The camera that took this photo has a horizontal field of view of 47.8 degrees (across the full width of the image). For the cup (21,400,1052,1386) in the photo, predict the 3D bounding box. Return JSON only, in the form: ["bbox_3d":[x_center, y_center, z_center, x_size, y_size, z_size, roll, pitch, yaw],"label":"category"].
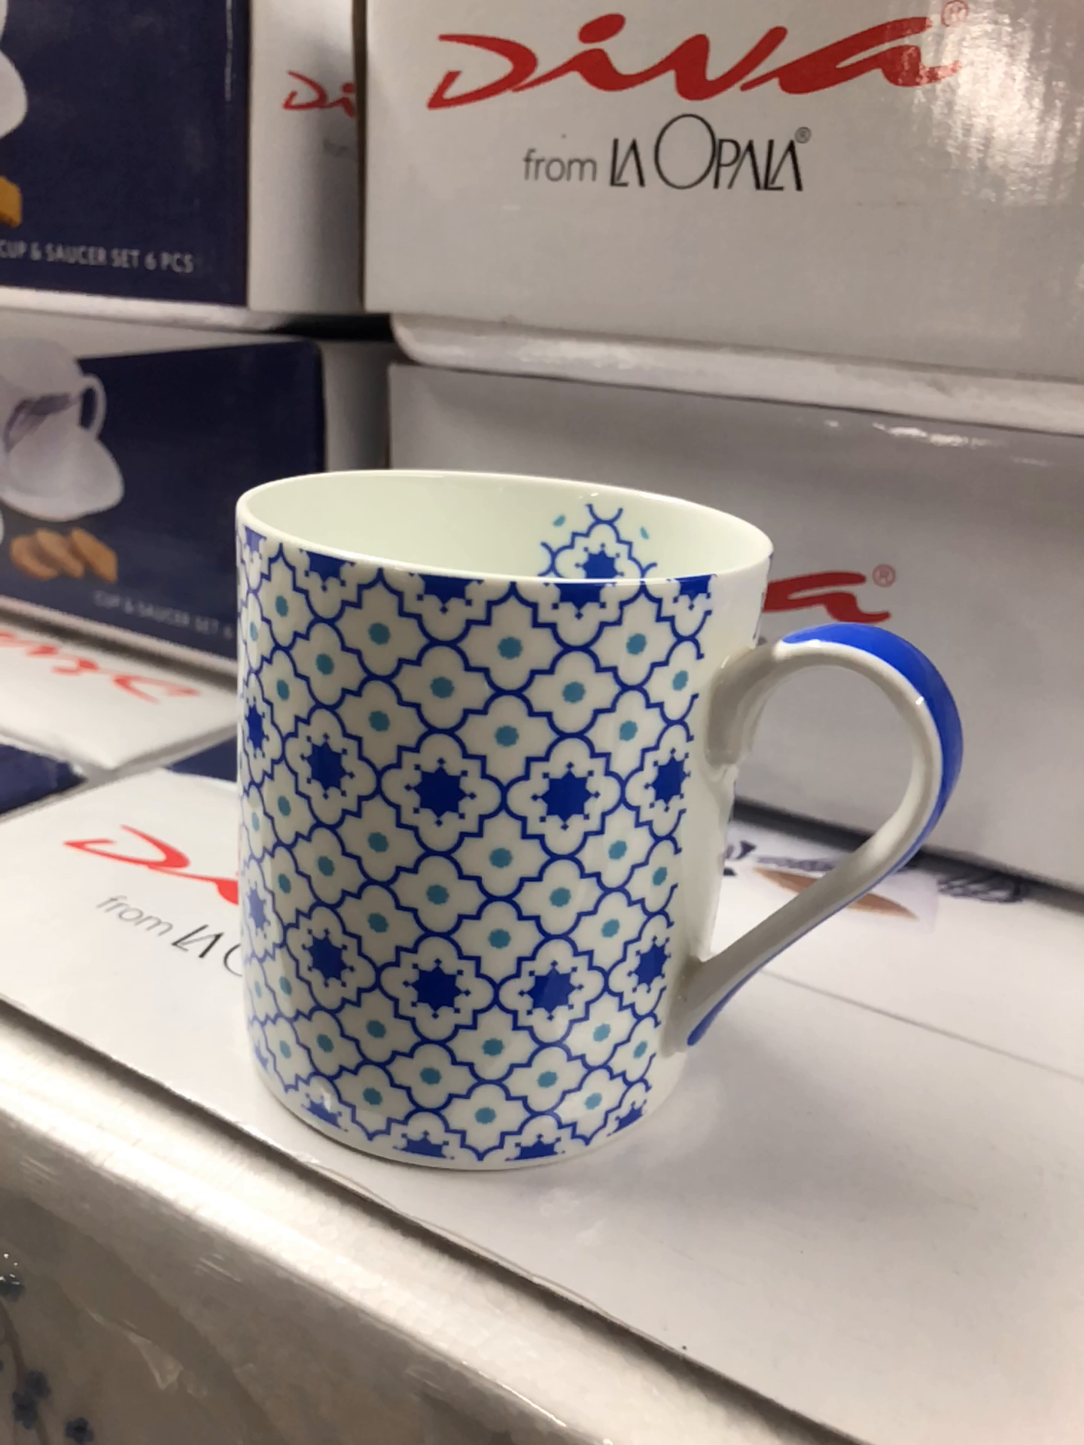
[{"bbox_3d":[0.001,0.008,0.158,0.100,0.080,0.070,14,24,24],"label":"cup"}]
